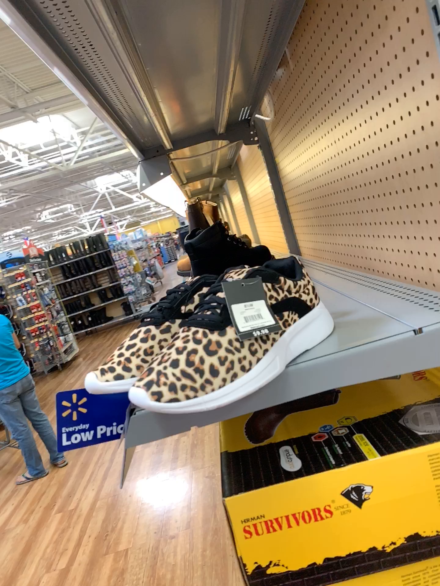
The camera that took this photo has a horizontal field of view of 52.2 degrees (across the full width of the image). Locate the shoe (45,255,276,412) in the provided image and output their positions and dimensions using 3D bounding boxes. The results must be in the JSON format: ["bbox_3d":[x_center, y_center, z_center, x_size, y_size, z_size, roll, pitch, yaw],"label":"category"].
[{"bbox_3d":[-0.068,0.038,0.554,0.240,0.091,0.120,-23,10,-33],"label":"shoe"}]

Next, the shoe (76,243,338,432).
[{"bbox_3d":[-0.004,0.032,0.467,0.240,0.091,0.110,-24,10,-37],"label":"shoe"}]
